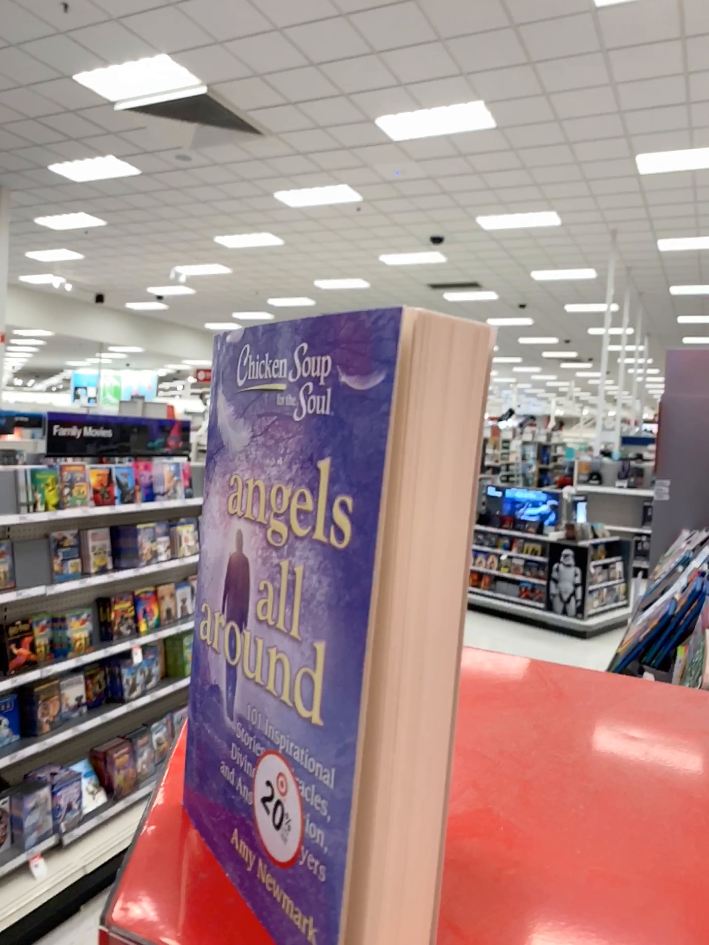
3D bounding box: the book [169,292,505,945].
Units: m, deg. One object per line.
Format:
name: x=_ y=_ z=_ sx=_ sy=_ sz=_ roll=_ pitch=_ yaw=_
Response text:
book: x=-0.018 y=0.050 z=0.277 sx=0.041 sy=0.211 sz=0.142 roll=5 pitch=1 yaw=-32
